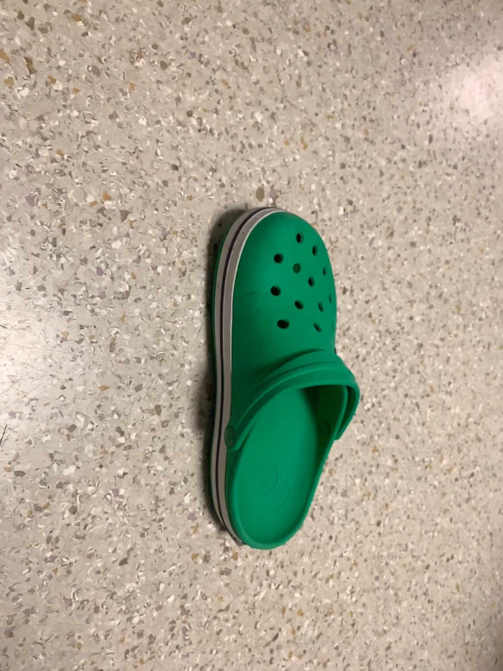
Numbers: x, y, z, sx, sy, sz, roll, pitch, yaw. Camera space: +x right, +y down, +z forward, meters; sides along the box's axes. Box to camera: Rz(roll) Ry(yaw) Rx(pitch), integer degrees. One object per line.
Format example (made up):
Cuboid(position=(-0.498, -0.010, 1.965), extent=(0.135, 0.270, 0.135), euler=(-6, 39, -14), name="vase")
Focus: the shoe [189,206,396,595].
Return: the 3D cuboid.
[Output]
Cuboid(position=(0.029, 0.039, 0.376), extent=(0.108, 0.082, 0.234), euler=(3, 91, -36), name="shoe")
